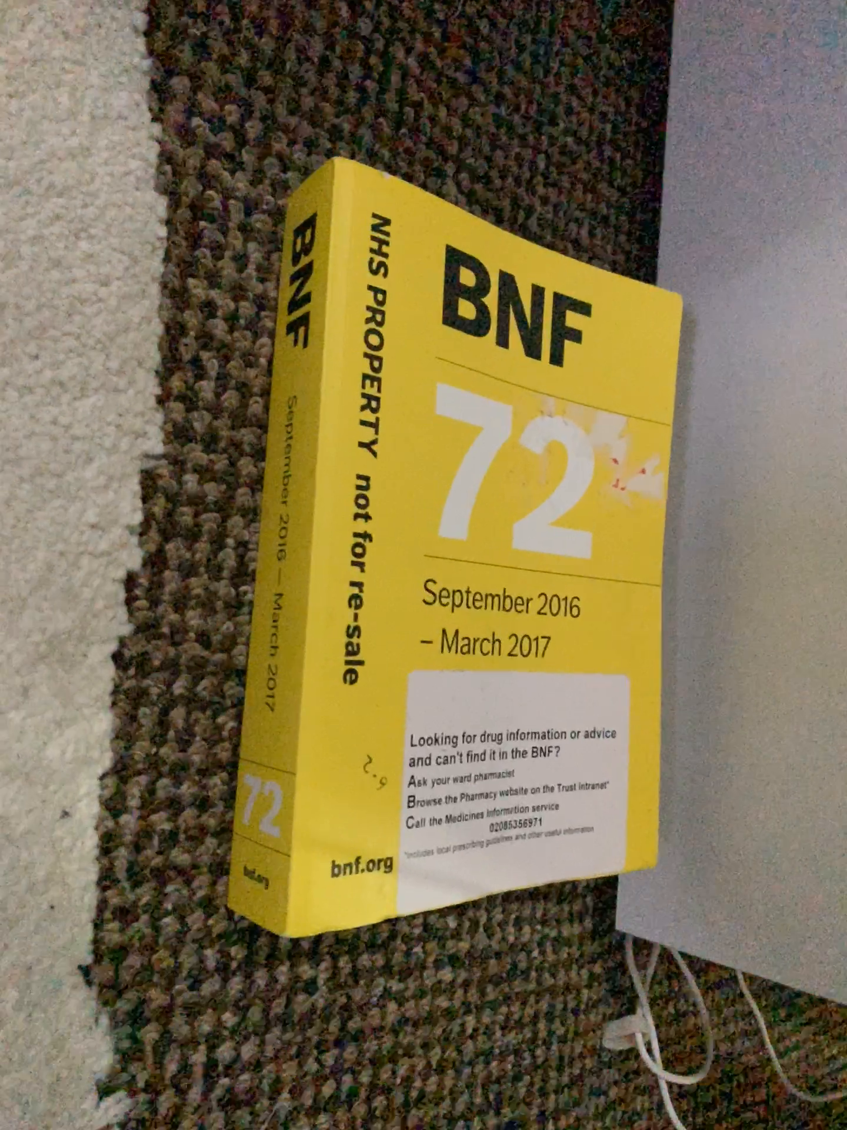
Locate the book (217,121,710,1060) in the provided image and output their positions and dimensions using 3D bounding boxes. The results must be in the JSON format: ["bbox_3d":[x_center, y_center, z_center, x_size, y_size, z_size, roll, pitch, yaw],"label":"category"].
[{"bbox_3d":[0.026,0.009,0.278,0.161,0.050,0.220,7,84,-43],"label":"book"}]
